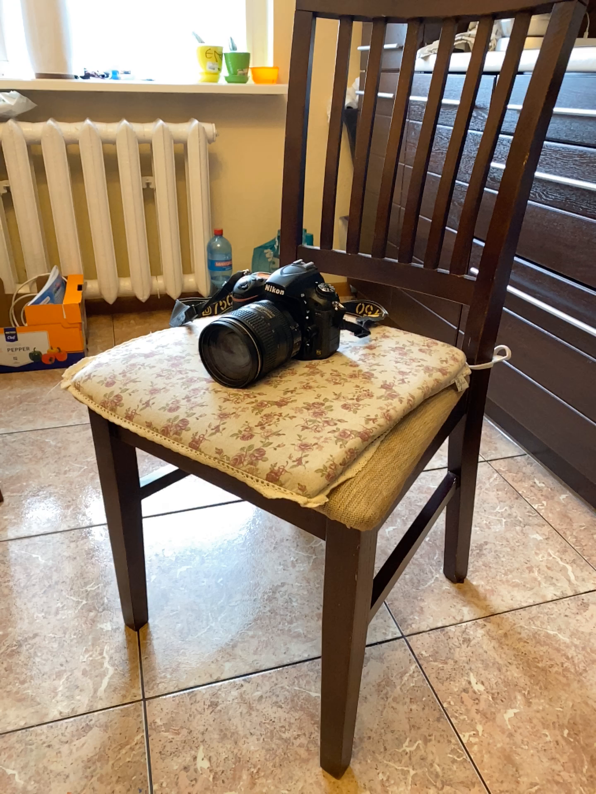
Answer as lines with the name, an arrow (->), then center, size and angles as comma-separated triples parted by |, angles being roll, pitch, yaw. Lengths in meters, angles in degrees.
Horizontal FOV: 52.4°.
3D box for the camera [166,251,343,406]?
camera -> -0.048, -0.092, 0.731 | 0.135, 0.119, 0.164 | 18, 30, 29
